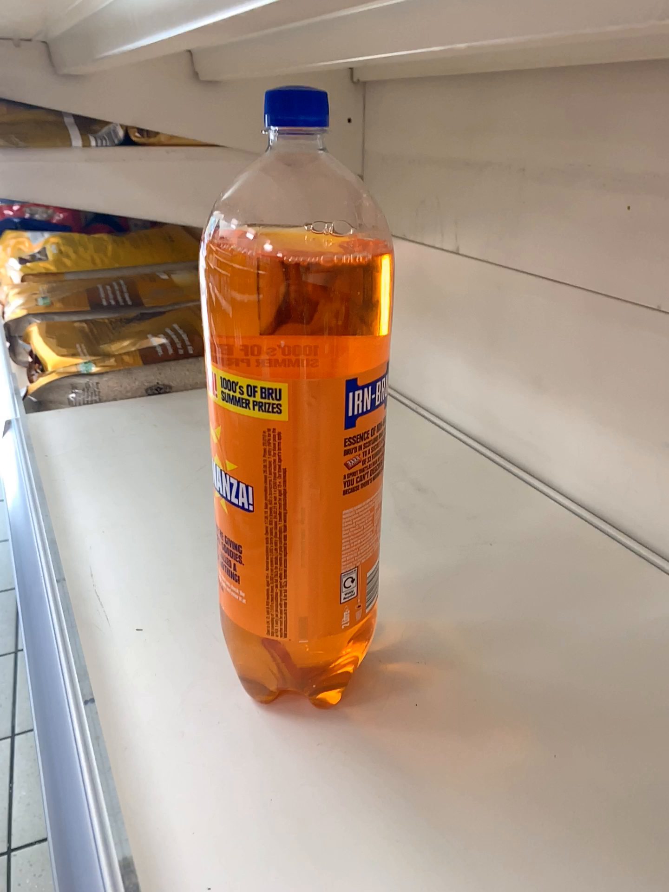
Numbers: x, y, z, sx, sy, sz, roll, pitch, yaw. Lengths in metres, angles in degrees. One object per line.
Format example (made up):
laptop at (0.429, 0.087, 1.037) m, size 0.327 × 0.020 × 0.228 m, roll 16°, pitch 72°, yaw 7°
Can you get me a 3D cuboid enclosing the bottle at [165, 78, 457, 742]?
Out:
bottle at (-0.018, -0.011, 0.373) m, size 0.110 × 0.327 × 0.111 m, roll 0°, pitch 25°, yaw 0°
